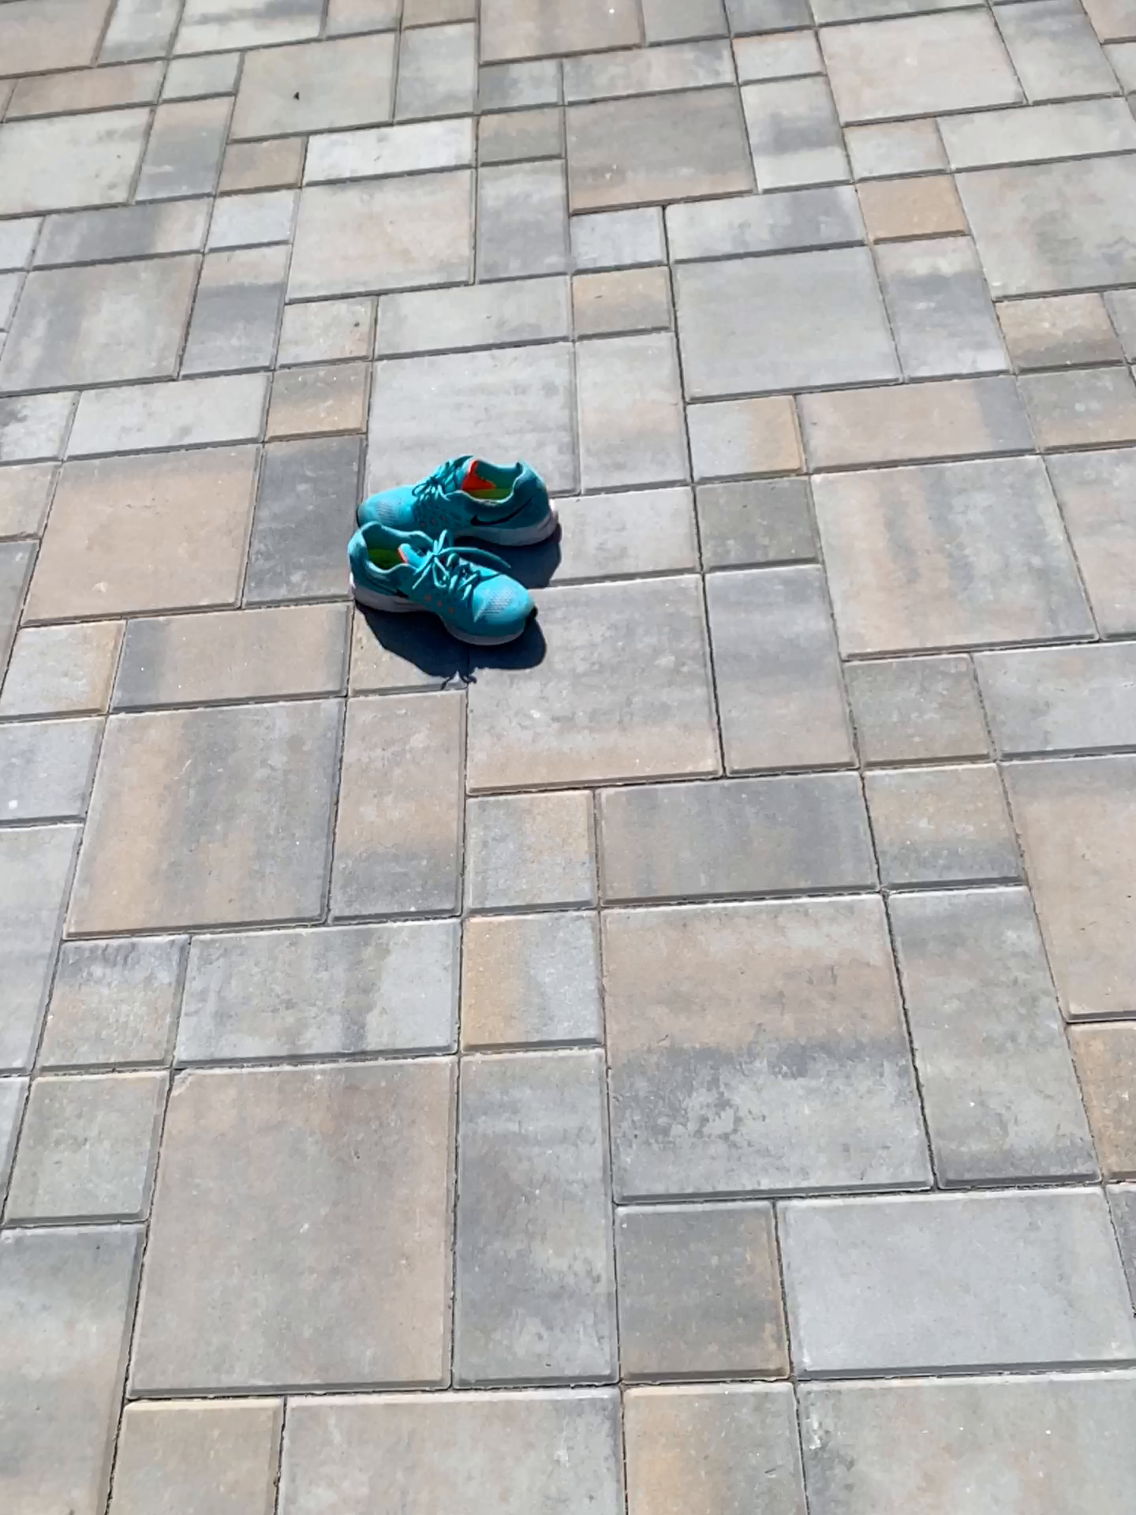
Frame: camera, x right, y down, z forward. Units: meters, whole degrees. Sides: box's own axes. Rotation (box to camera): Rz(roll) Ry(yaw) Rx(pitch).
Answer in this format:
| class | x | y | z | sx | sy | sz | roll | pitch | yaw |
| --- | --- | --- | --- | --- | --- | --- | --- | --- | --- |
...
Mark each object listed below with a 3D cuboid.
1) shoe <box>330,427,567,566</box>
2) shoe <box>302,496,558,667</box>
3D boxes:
| class | x | y | z | sx | sy | sz | roll | pitch | yaw |
| --- | --- | --- | --- | --- | --- | --- | --- | --- | --- |
| shoe | -0.144 | -0.325 | 1.460 | 0.270 | 0.100 | 0.130 | 0 | 59 | 6 |
| shoe | -0.169 | -0.221 | 1.448 | 0.271 | 0.100 | 0.130 | 15 | 62 | 21 |
